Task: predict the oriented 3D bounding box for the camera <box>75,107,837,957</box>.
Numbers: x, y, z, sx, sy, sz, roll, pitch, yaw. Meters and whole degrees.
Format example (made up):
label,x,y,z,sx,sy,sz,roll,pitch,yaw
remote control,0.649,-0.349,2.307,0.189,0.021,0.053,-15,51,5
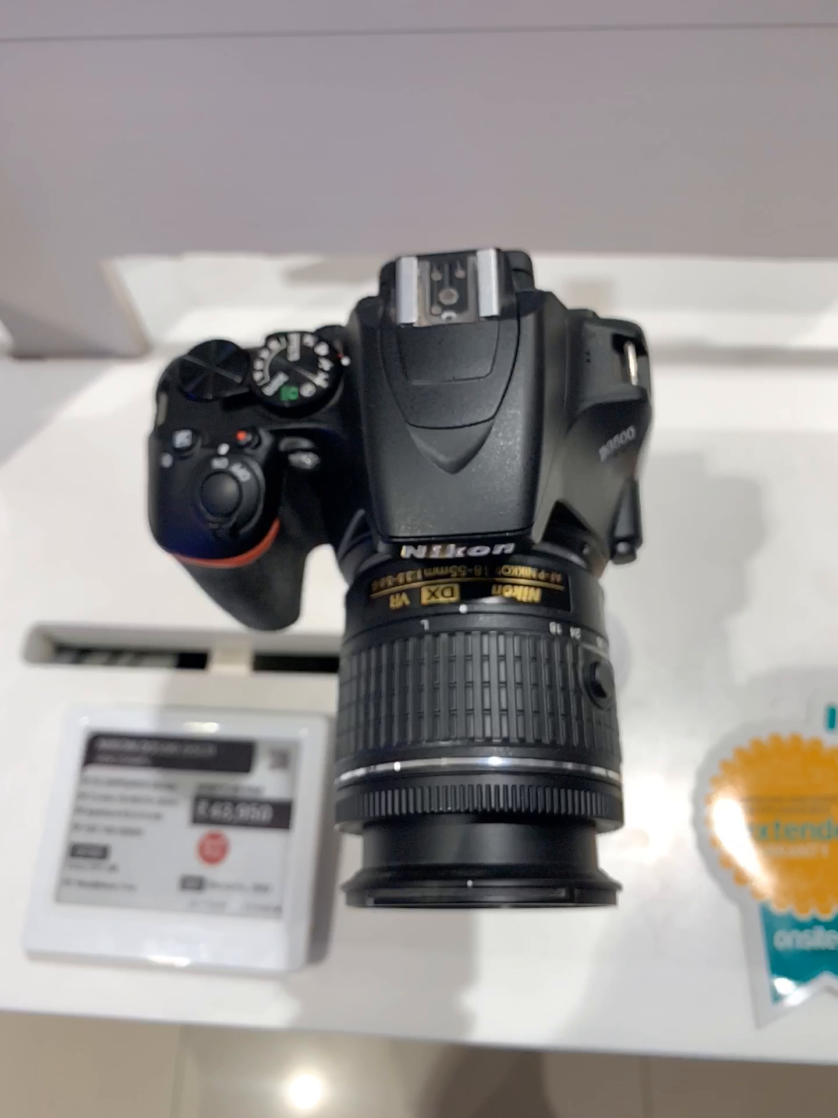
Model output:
label,x,y,z,sx,sy,sz,roll,pitch,yaw
camera,0.008,-0.005,0.215,0.120,0.090,0.180,-3,64,3
